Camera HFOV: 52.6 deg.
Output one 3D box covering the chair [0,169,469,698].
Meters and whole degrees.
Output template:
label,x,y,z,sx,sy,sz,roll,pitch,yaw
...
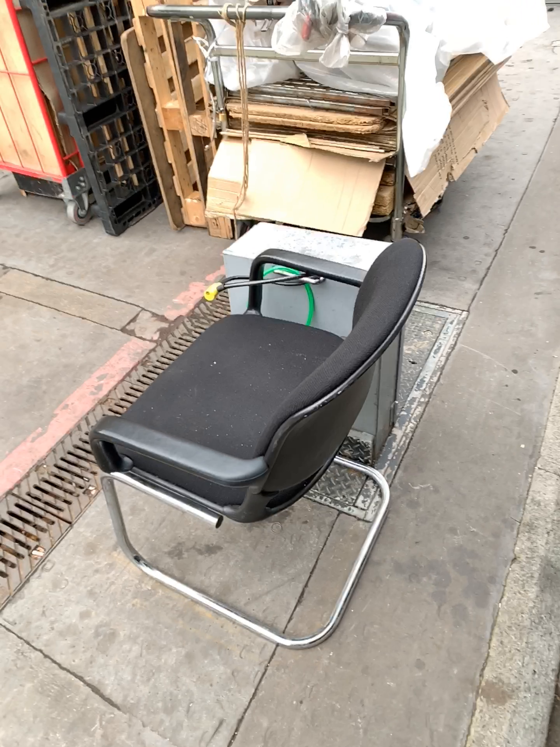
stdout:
label,x,y,z,sx,sy,sz,roll,pitch,yaw
chair,-0.046,0.104,1.157,0.602,0.753,0.564,18,48,24
